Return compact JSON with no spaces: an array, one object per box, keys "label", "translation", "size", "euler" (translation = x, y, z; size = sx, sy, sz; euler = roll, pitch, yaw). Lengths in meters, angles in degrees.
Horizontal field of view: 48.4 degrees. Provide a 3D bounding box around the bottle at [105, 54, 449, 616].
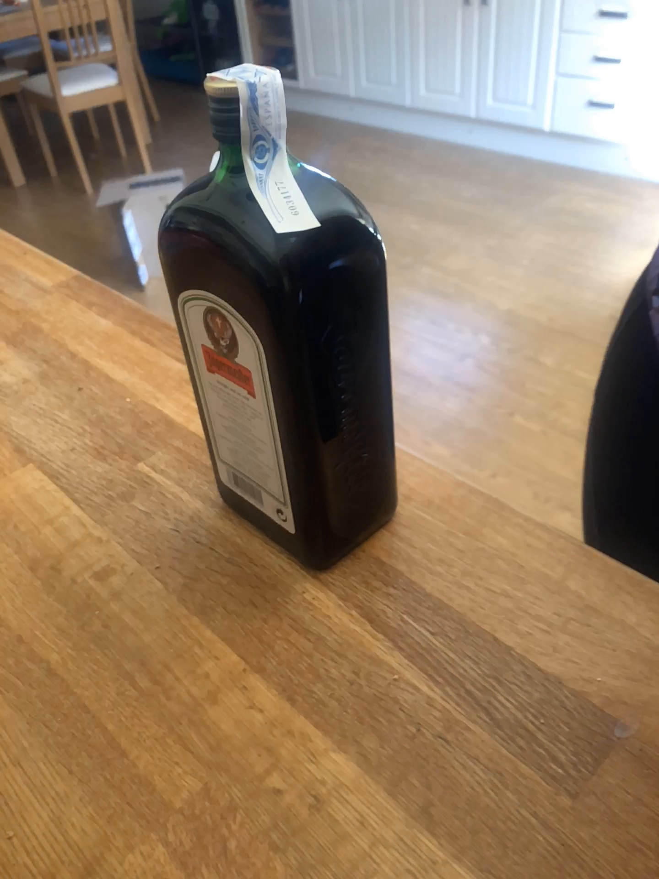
[{"label":"bottle","translation":[-0.012,-0.042,0.332],"size":[0.080,0.218,0.100],"euler":[-33,45,-30]}]
